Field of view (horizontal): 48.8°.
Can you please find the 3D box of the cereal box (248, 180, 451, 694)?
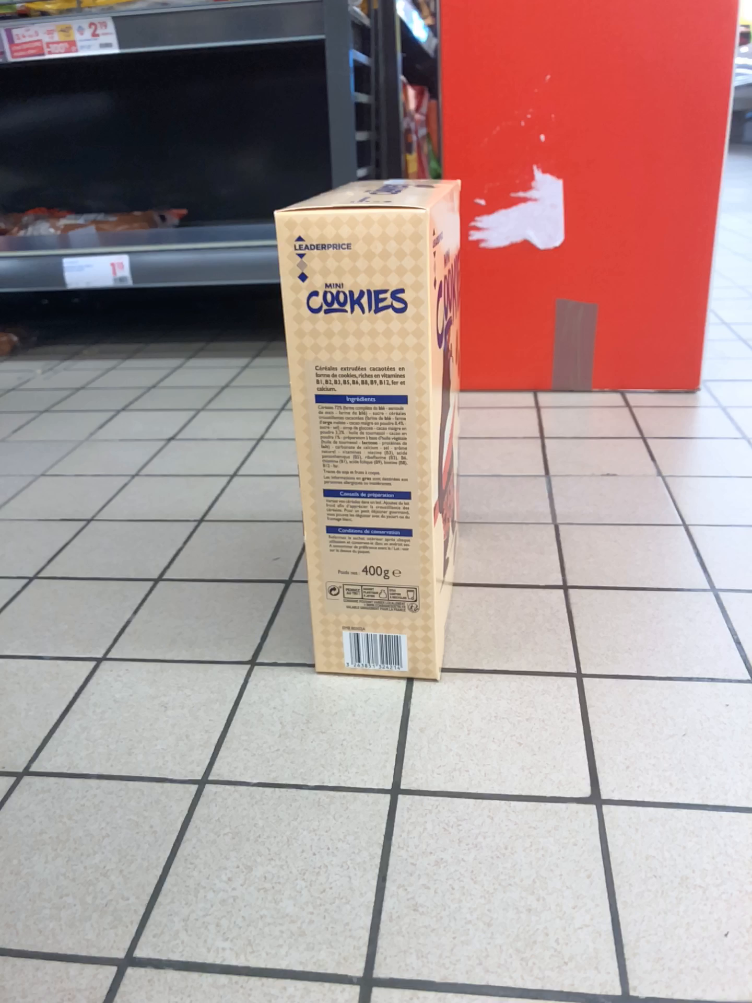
[{"bbox_3d":[0.000,-0.053,0.540,0.080,0.279,0.201,1,23,9],"label":"cereal box"}]
